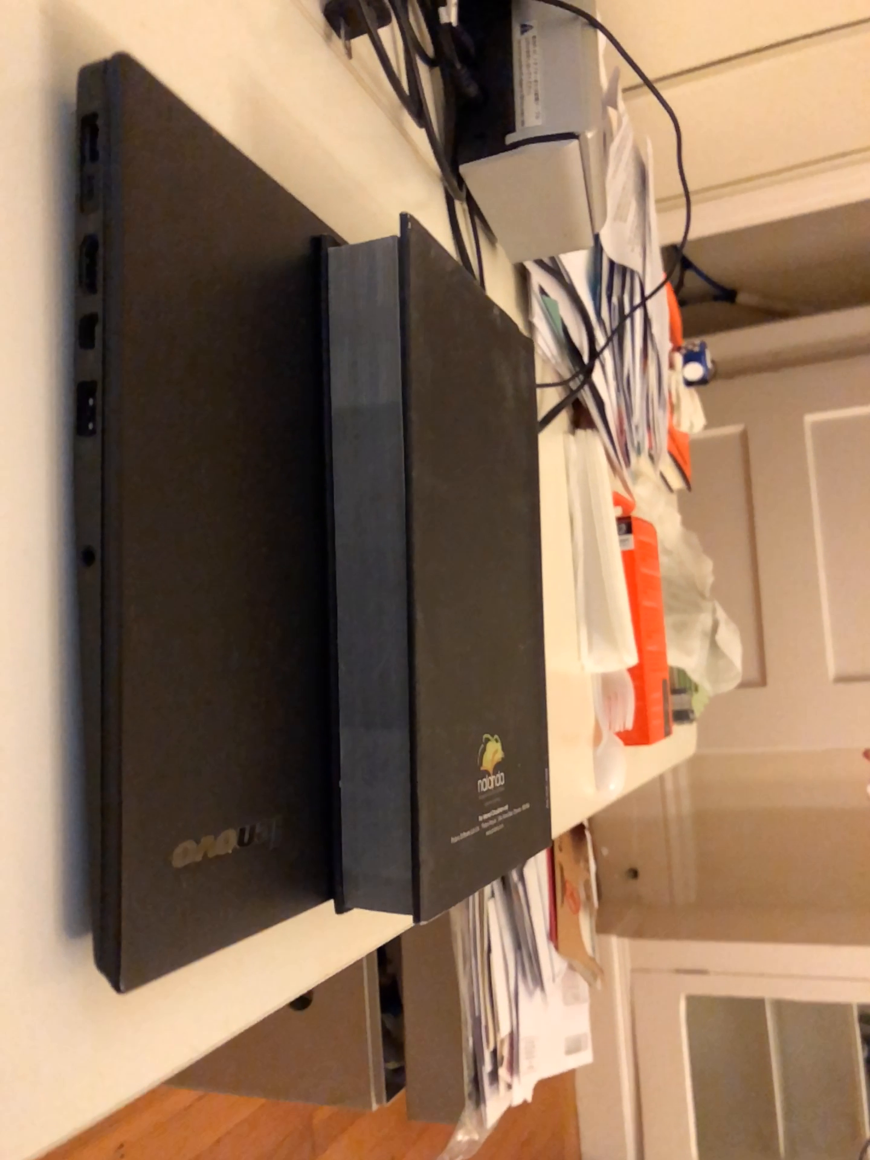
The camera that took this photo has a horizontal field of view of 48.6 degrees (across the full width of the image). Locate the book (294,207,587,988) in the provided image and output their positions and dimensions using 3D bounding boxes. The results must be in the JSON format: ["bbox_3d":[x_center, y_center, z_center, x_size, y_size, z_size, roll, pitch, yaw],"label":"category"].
[{"bbox_3d":[0.009,0.008,0.359,0.151,0.040,0.230,12,74,-67],"label":"book"}]
